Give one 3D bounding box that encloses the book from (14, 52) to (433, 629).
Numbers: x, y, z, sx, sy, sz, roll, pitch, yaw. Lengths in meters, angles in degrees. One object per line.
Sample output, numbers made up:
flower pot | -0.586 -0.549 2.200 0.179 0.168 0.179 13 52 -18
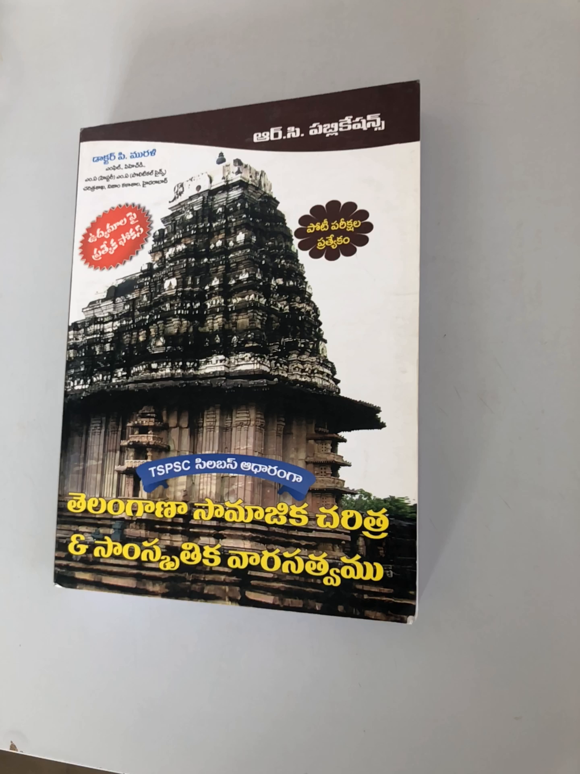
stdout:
book | -0.029 -0.022 0.298 0.180 0.040 0.230 0 83 16
